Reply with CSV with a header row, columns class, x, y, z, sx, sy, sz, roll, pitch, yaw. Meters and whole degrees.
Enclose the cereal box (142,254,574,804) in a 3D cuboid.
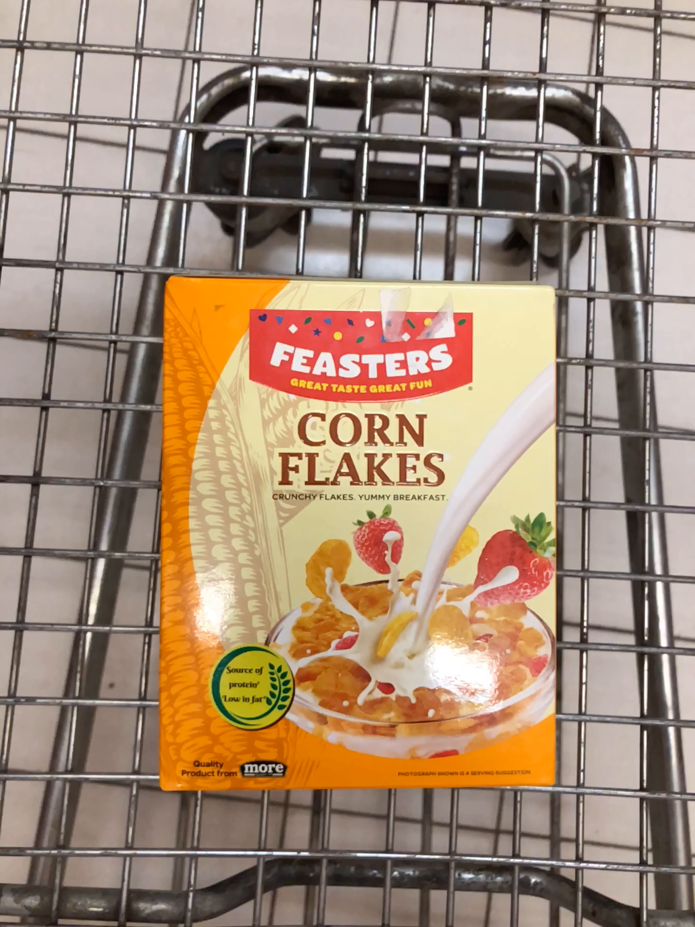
class,x,y,z,sx,sy,sz,roll,pitch,yaw
cereal box,0.003,0.022,0.287,0.140,0.060,0.180,1,90,-2
